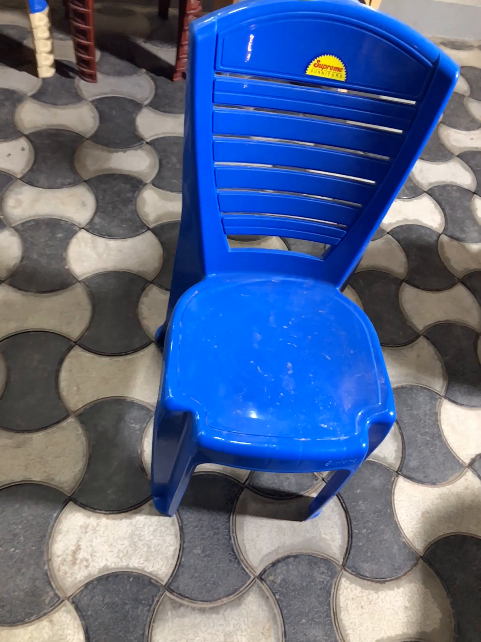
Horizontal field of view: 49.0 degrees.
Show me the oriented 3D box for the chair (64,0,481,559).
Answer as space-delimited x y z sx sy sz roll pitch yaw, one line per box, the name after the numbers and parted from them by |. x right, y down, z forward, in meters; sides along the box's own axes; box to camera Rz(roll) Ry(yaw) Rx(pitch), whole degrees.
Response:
0.068 0.003 0.803 0.470 0.726 0.513 6 55 -7 | chair
